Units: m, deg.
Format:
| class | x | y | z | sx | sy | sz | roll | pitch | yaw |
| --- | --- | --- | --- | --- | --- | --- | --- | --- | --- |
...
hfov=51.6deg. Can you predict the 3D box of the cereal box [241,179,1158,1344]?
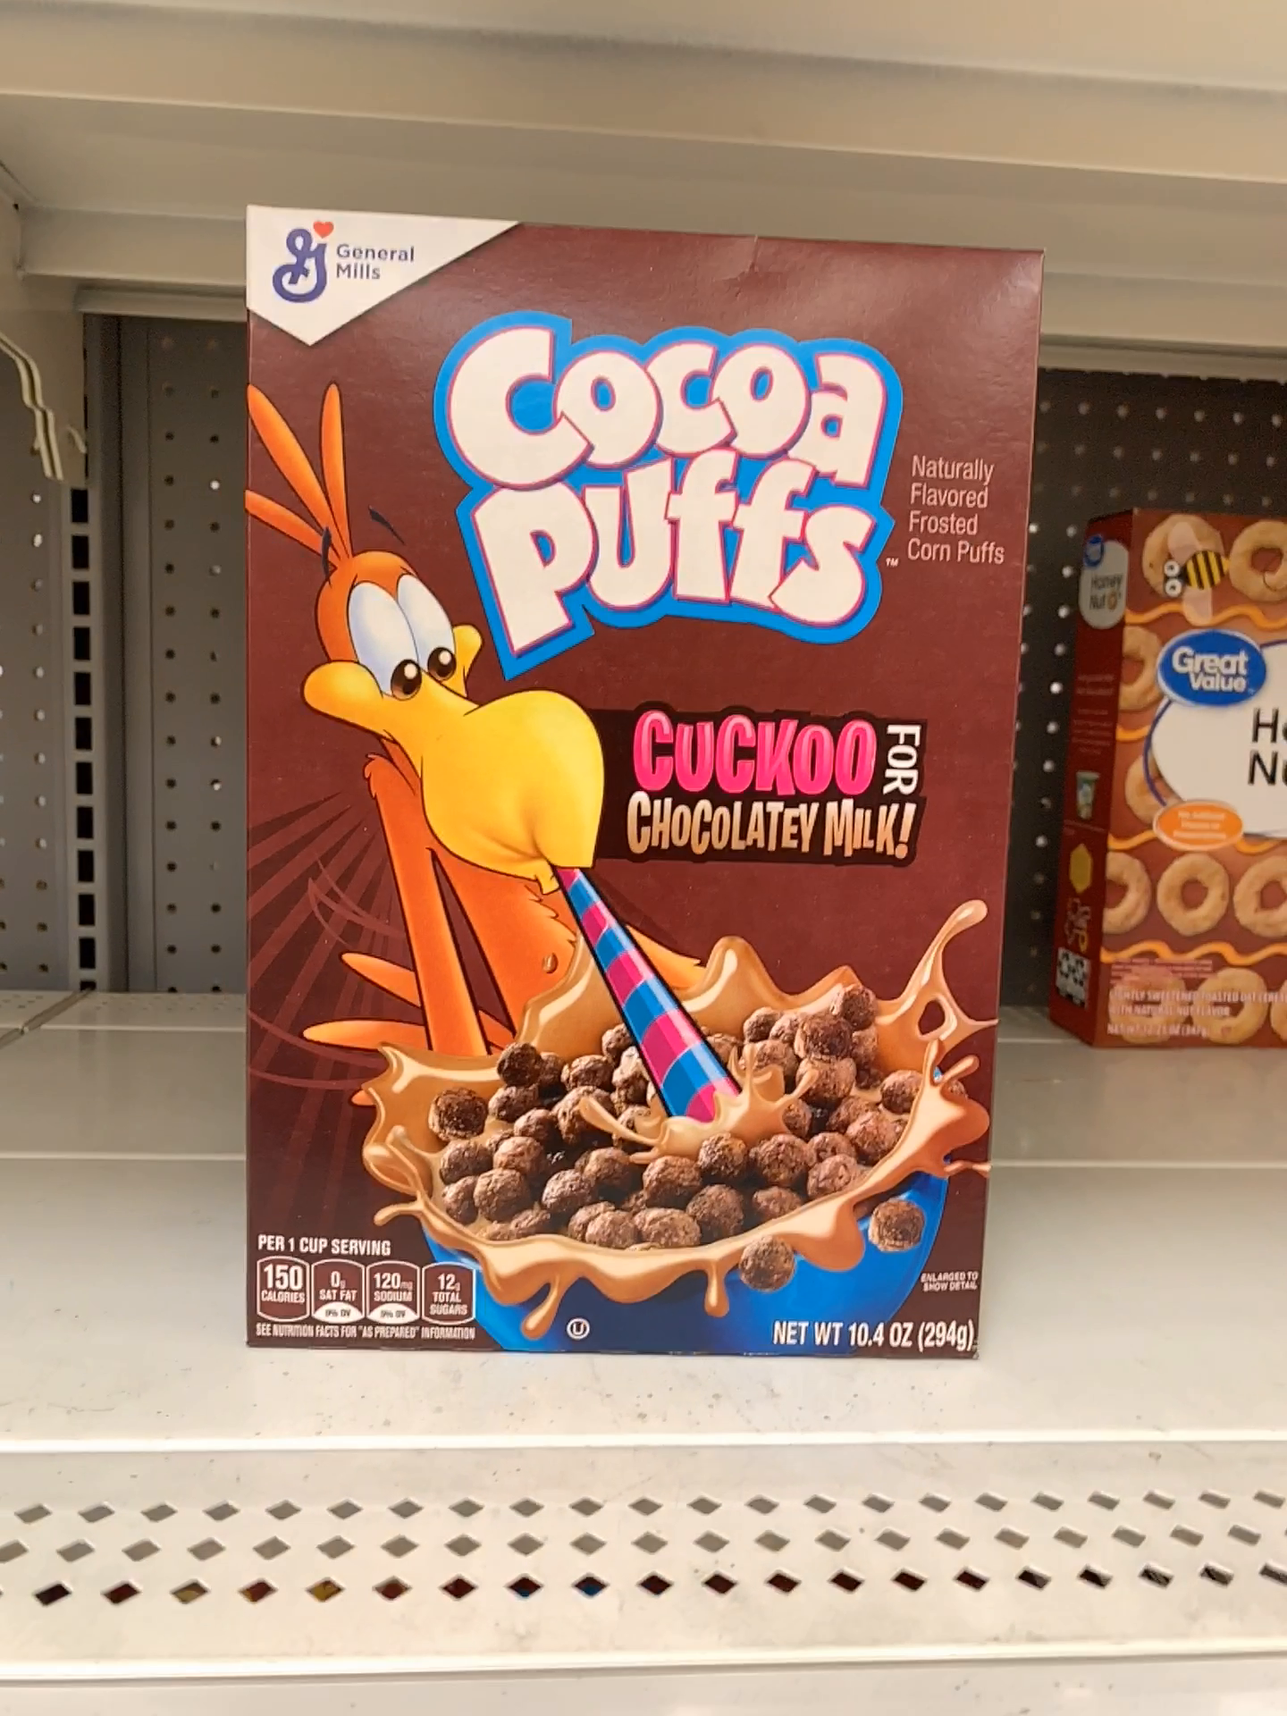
| class | x | y | z | sx | sy | sz | roll | pitch | yaw |
| --- | --- | --- | --- | --- | --- | --- | --- | --- | --- |
| cereal box | 0.009 | -0.017 | 0.328 | 0.200 | 0.260 | 0.050 | 2 | 6 | -2 |
